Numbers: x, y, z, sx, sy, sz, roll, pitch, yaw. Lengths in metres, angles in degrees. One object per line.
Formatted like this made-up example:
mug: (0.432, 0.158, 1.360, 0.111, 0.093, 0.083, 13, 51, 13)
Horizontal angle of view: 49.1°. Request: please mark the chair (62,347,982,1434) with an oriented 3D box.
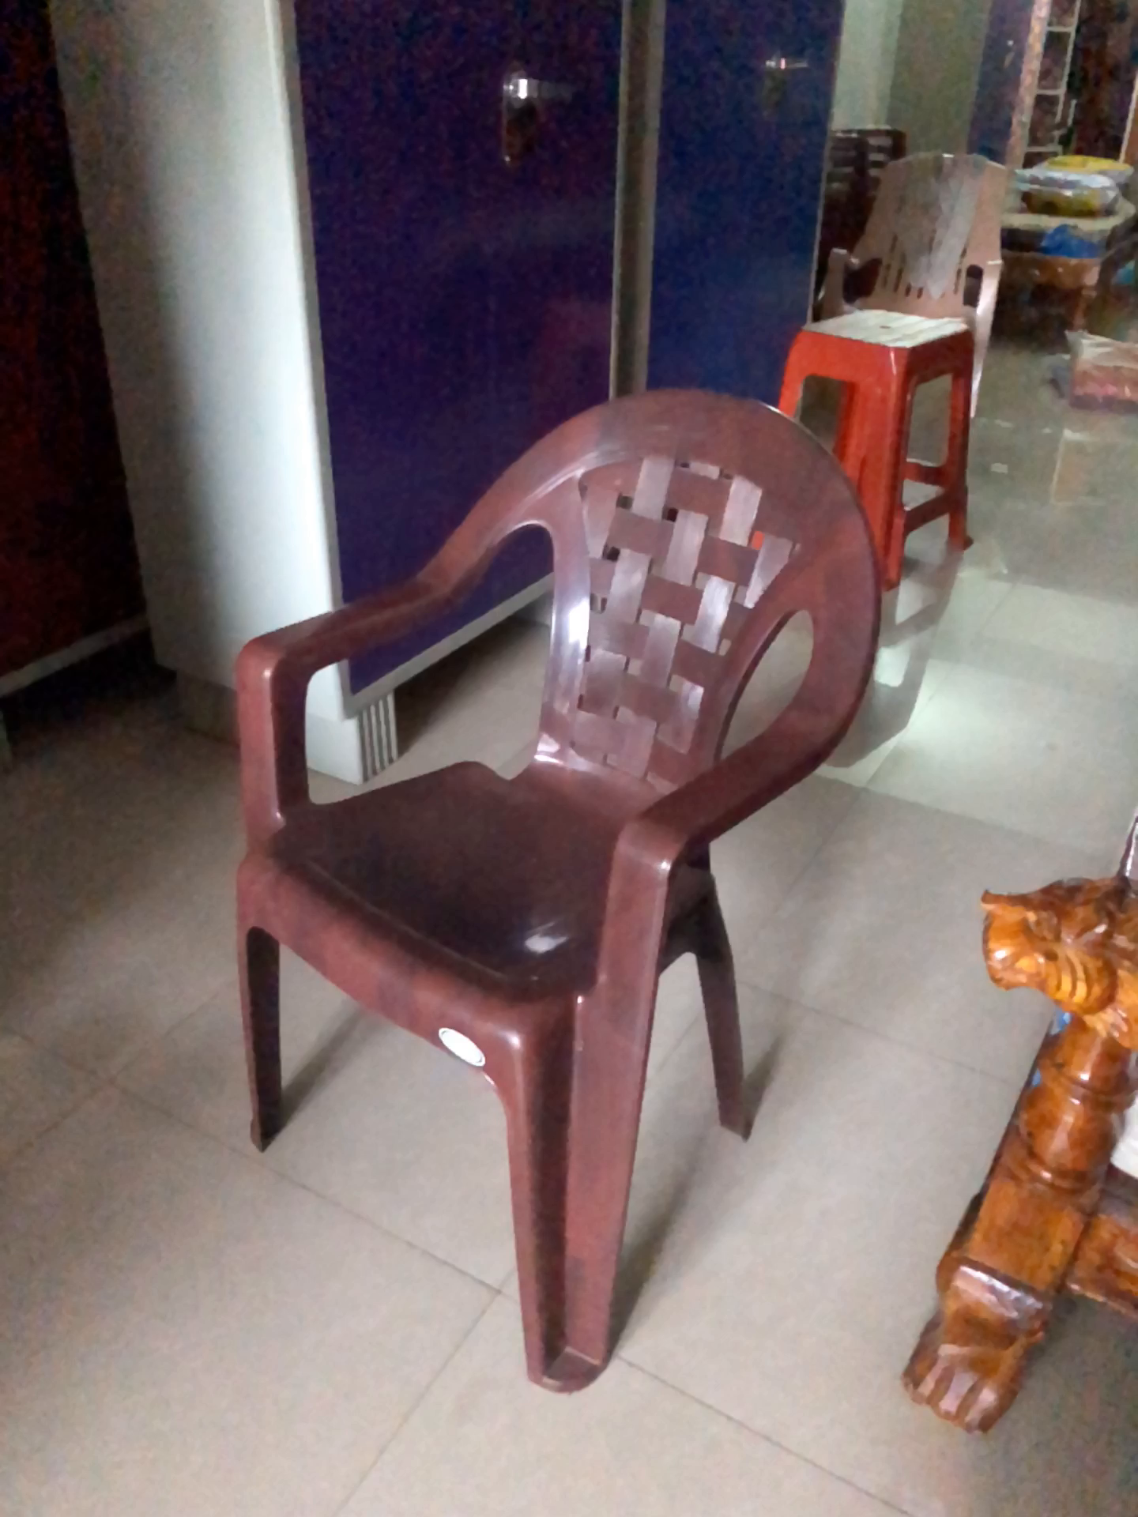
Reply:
chair: (-0.030, 0.075, 1.365, 0.600, 0.835, 0.613, 22, 37, 33)
